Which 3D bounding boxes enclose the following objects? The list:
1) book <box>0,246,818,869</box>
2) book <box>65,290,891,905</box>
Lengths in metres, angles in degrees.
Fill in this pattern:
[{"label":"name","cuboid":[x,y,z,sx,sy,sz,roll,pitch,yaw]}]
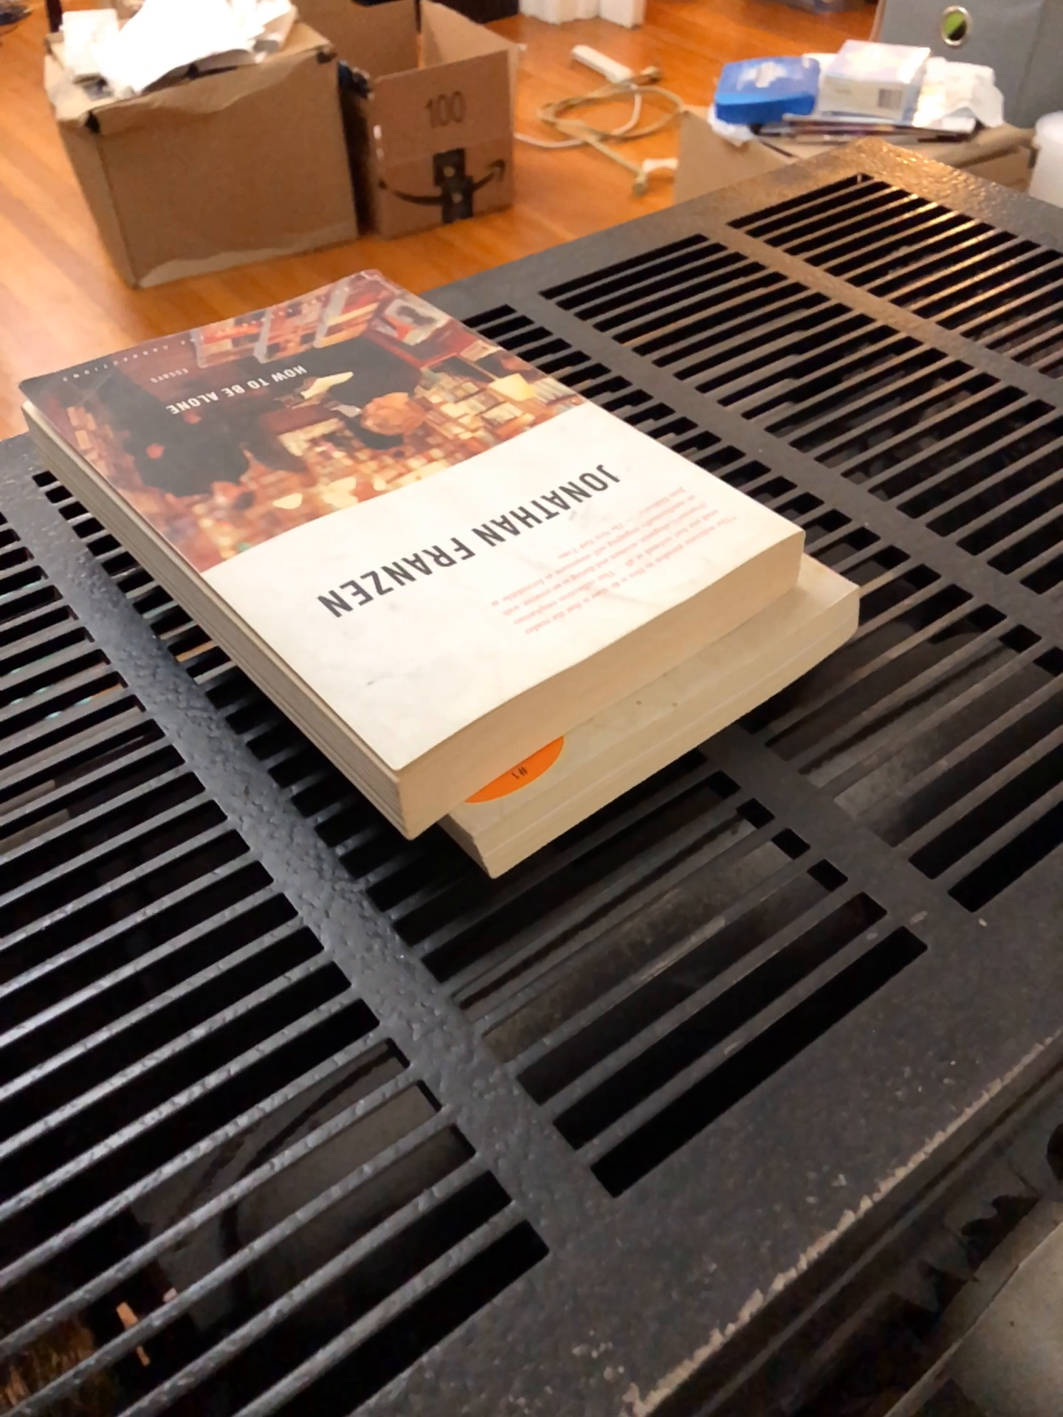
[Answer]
[{"label":"book","cuboid":[-0.048,-0.066,0.350,0.150,0.030,0.211,-31,53,-27]},{"label":"book","cuboid":[-0.024,-0.055,0.365,0.150,0.030,0.211,-31,53,-27]}]
